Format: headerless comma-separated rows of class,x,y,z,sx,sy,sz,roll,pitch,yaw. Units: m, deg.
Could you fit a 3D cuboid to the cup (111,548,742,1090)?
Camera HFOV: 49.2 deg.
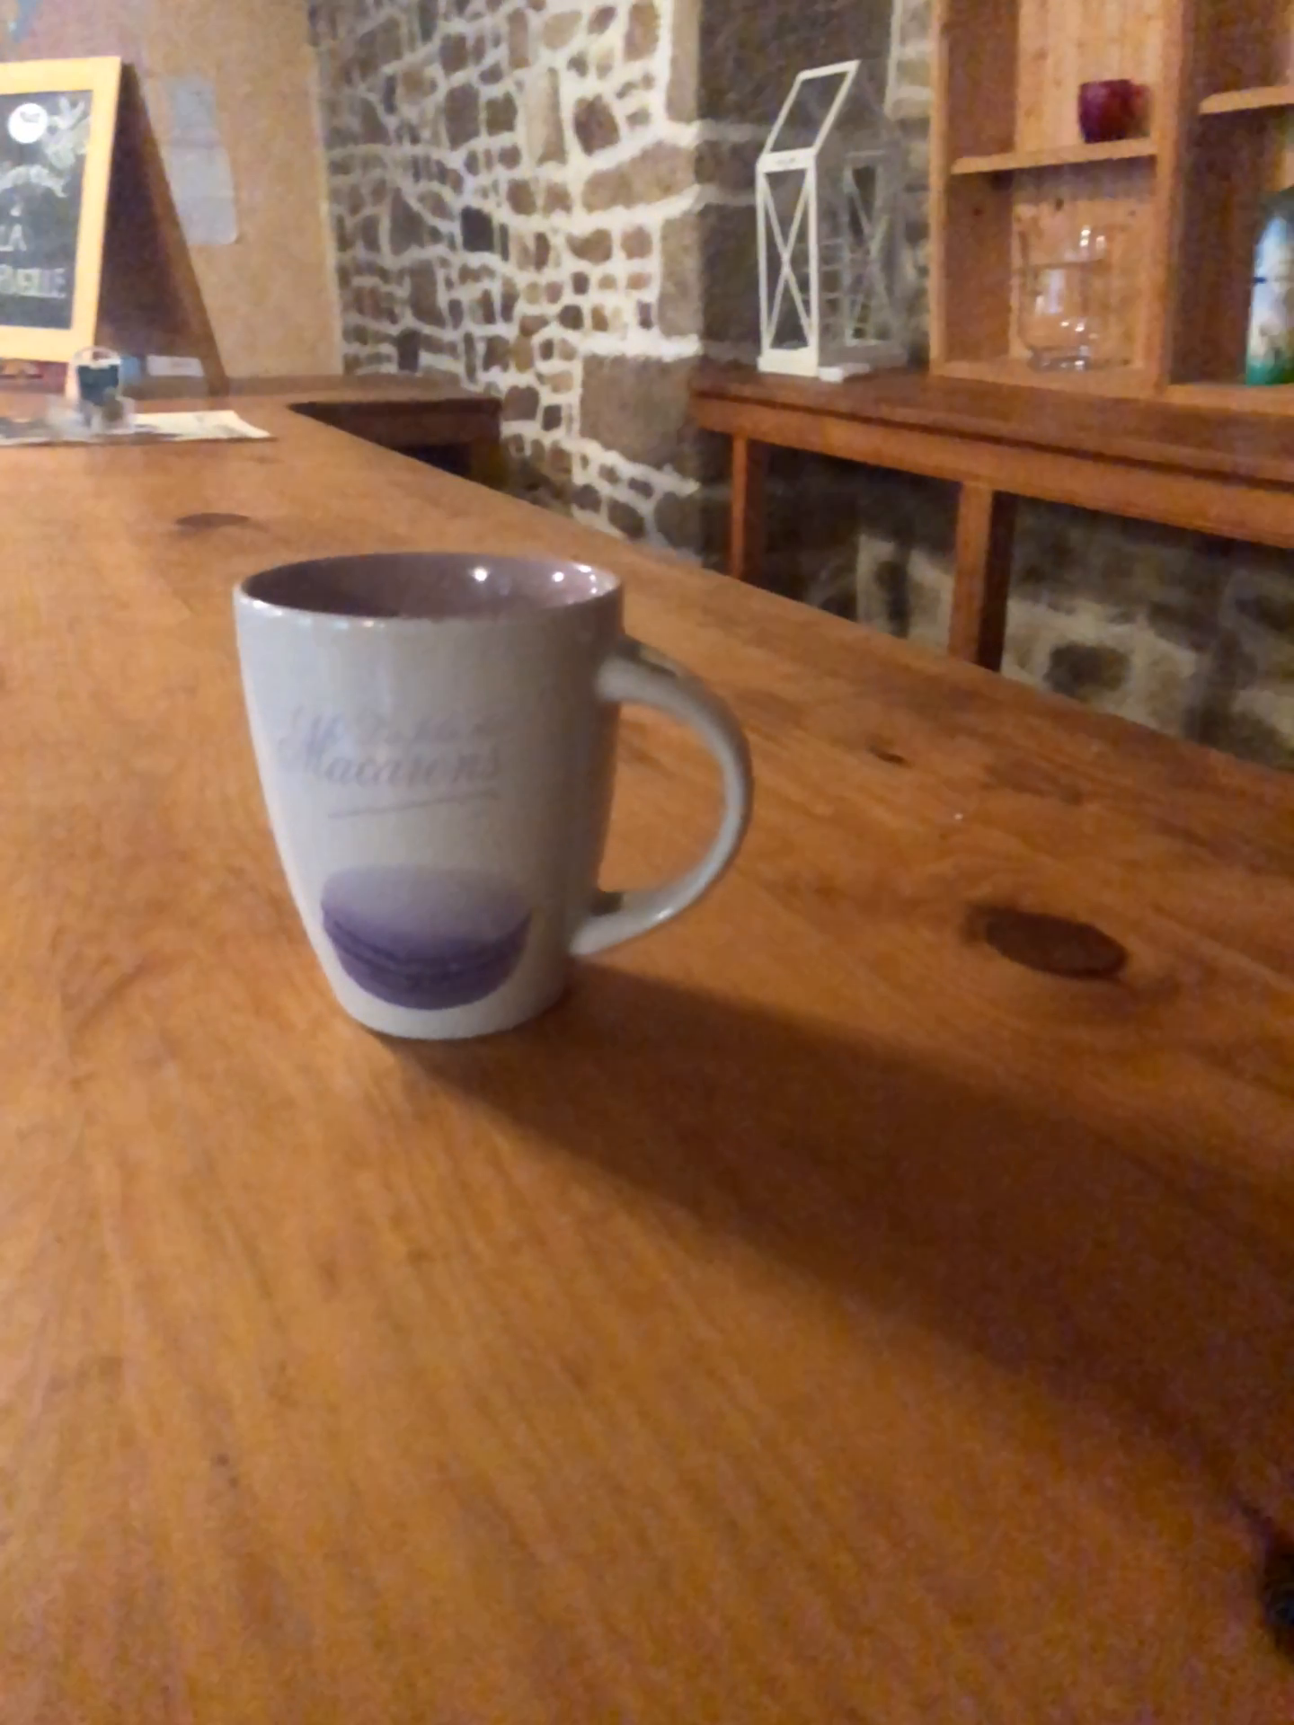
cup,-0.040,-0.017,0.336,0.120,0.095,0.101,2,22,5
